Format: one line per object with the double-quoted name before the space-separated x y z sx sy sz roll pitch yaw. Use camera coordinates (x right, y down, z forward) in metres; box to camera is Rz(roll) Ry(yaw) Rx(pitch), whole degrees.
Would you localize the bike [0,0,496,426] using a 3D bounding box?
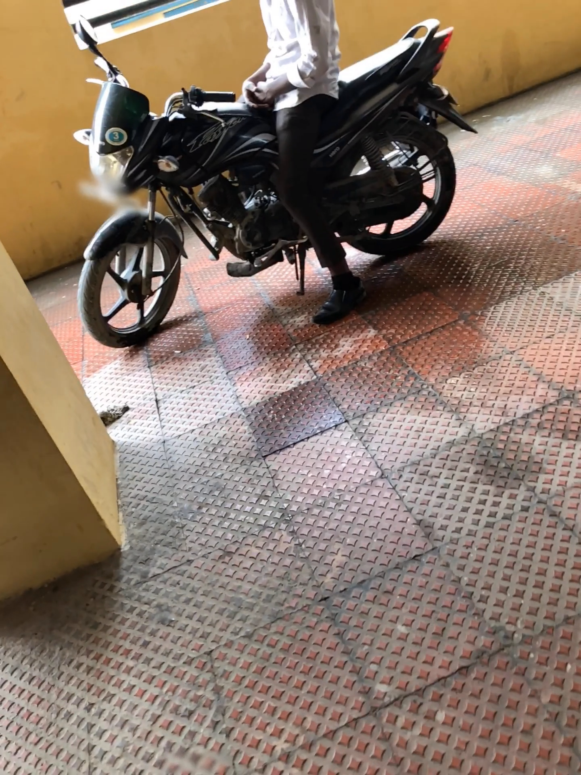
"bike" -0.164 -0.891 2.755 1.877 1.186 0.813 -22 34 -6
